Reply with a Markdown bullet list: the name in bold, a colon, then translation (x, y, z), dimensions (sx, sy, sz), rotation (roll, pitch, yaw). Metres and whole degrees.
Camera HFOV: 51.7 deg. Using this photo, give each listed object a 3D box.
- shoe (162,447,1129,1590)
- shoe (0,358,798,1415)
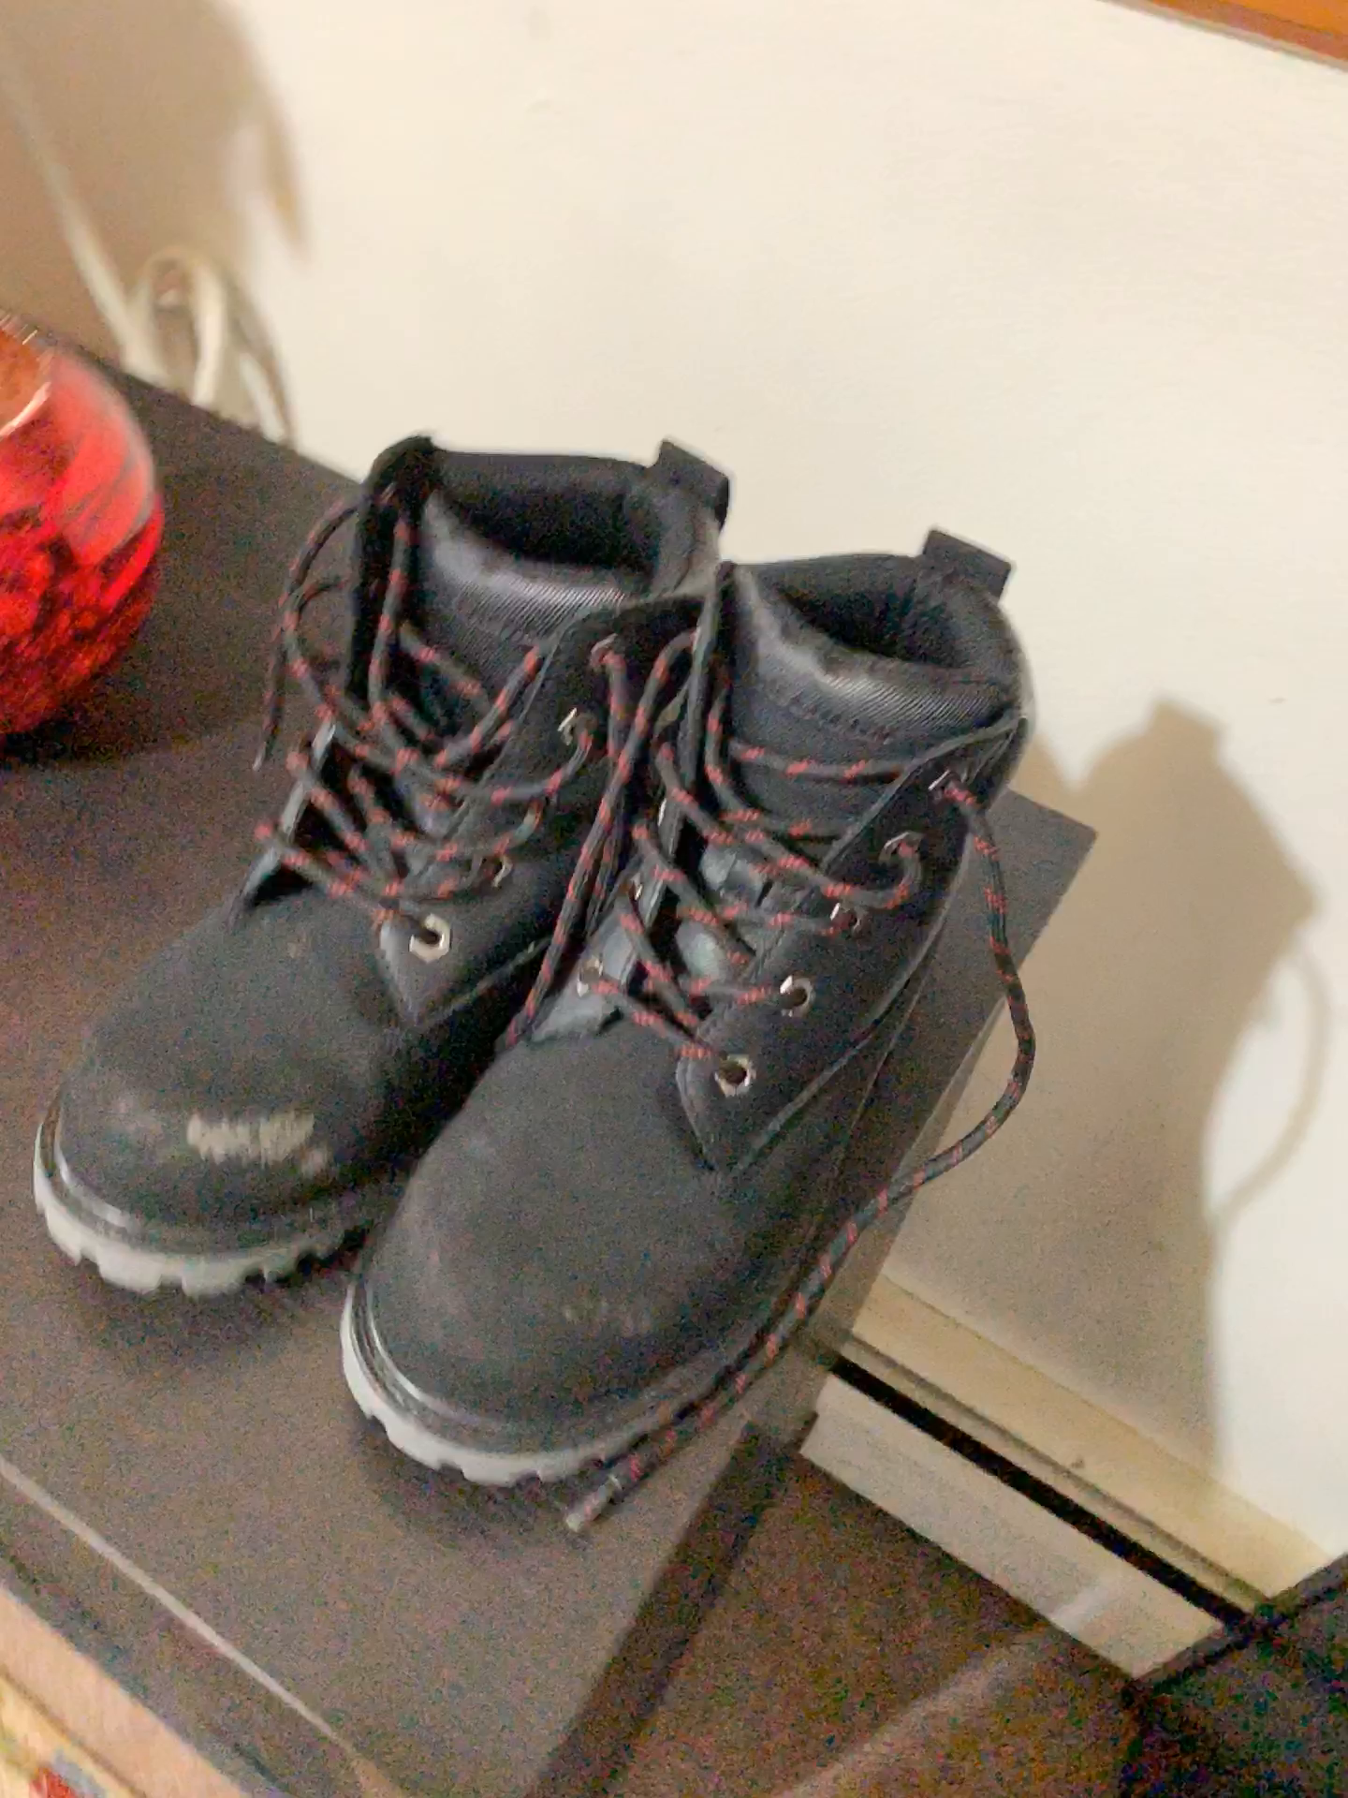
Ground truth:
- **shoe**: translation (0.005, 0.019, 0.356), dimensions (0.100, 0.159, 0.232), rotation (28, 50, 16)
- **shoe**: translation (-0.076, -0.013, 0.371), dimensions (0.100, 0.159, 0.222), rotation (28, 50, 16)
